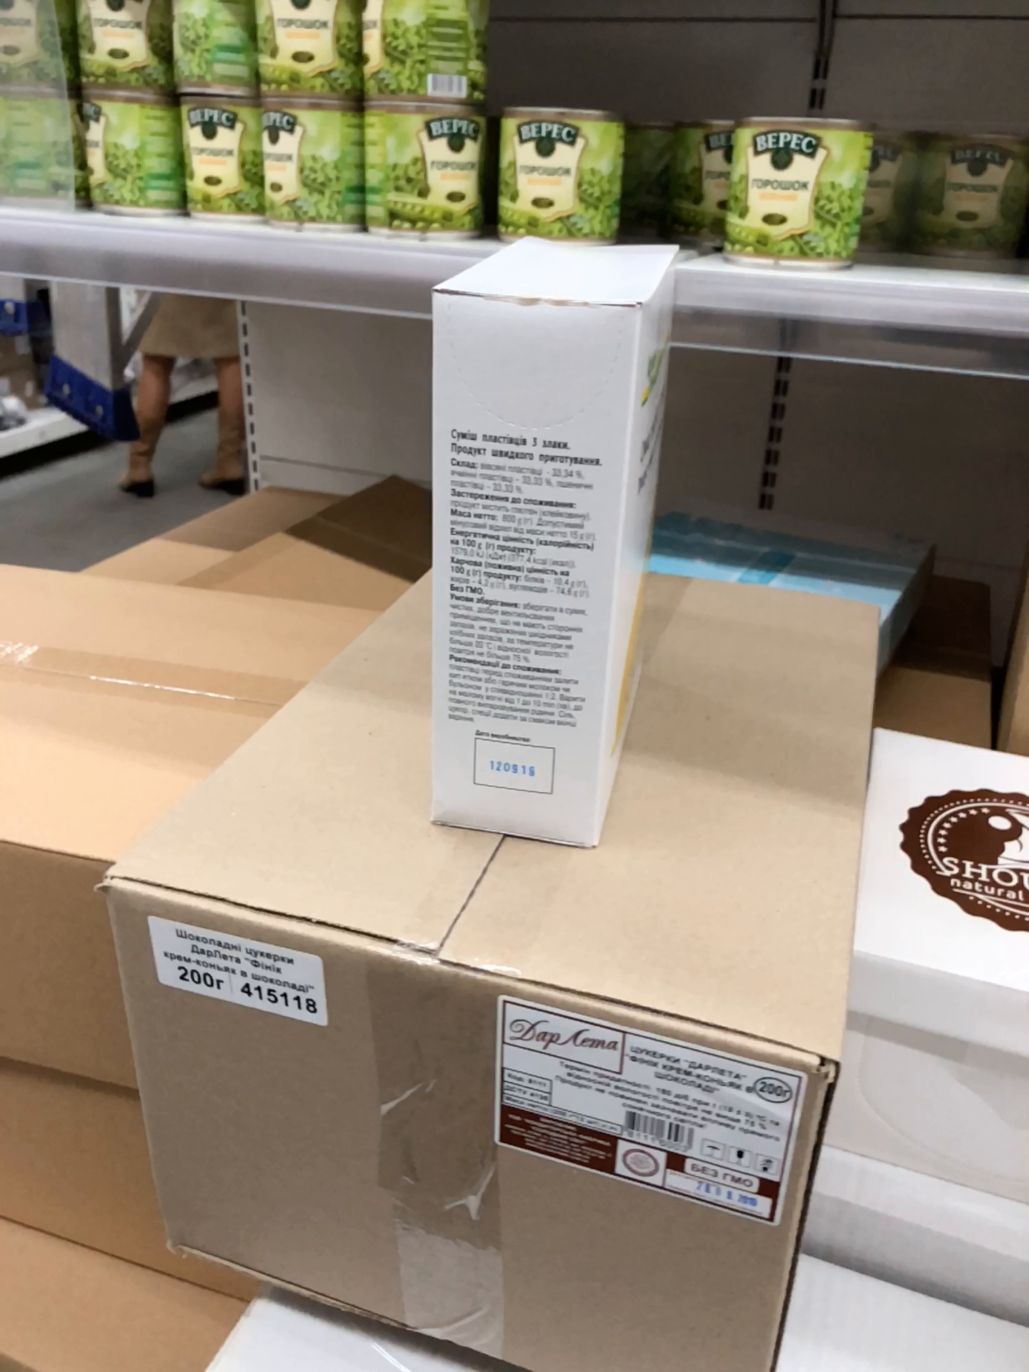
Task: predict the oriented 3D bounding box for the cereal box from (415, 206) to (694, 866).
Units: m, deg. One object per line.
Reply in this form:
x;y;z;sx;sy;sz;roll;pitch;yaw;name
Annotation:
0.020;-0.069;0.451;0.070;0.209;0.171;7;28;10;cereal box
